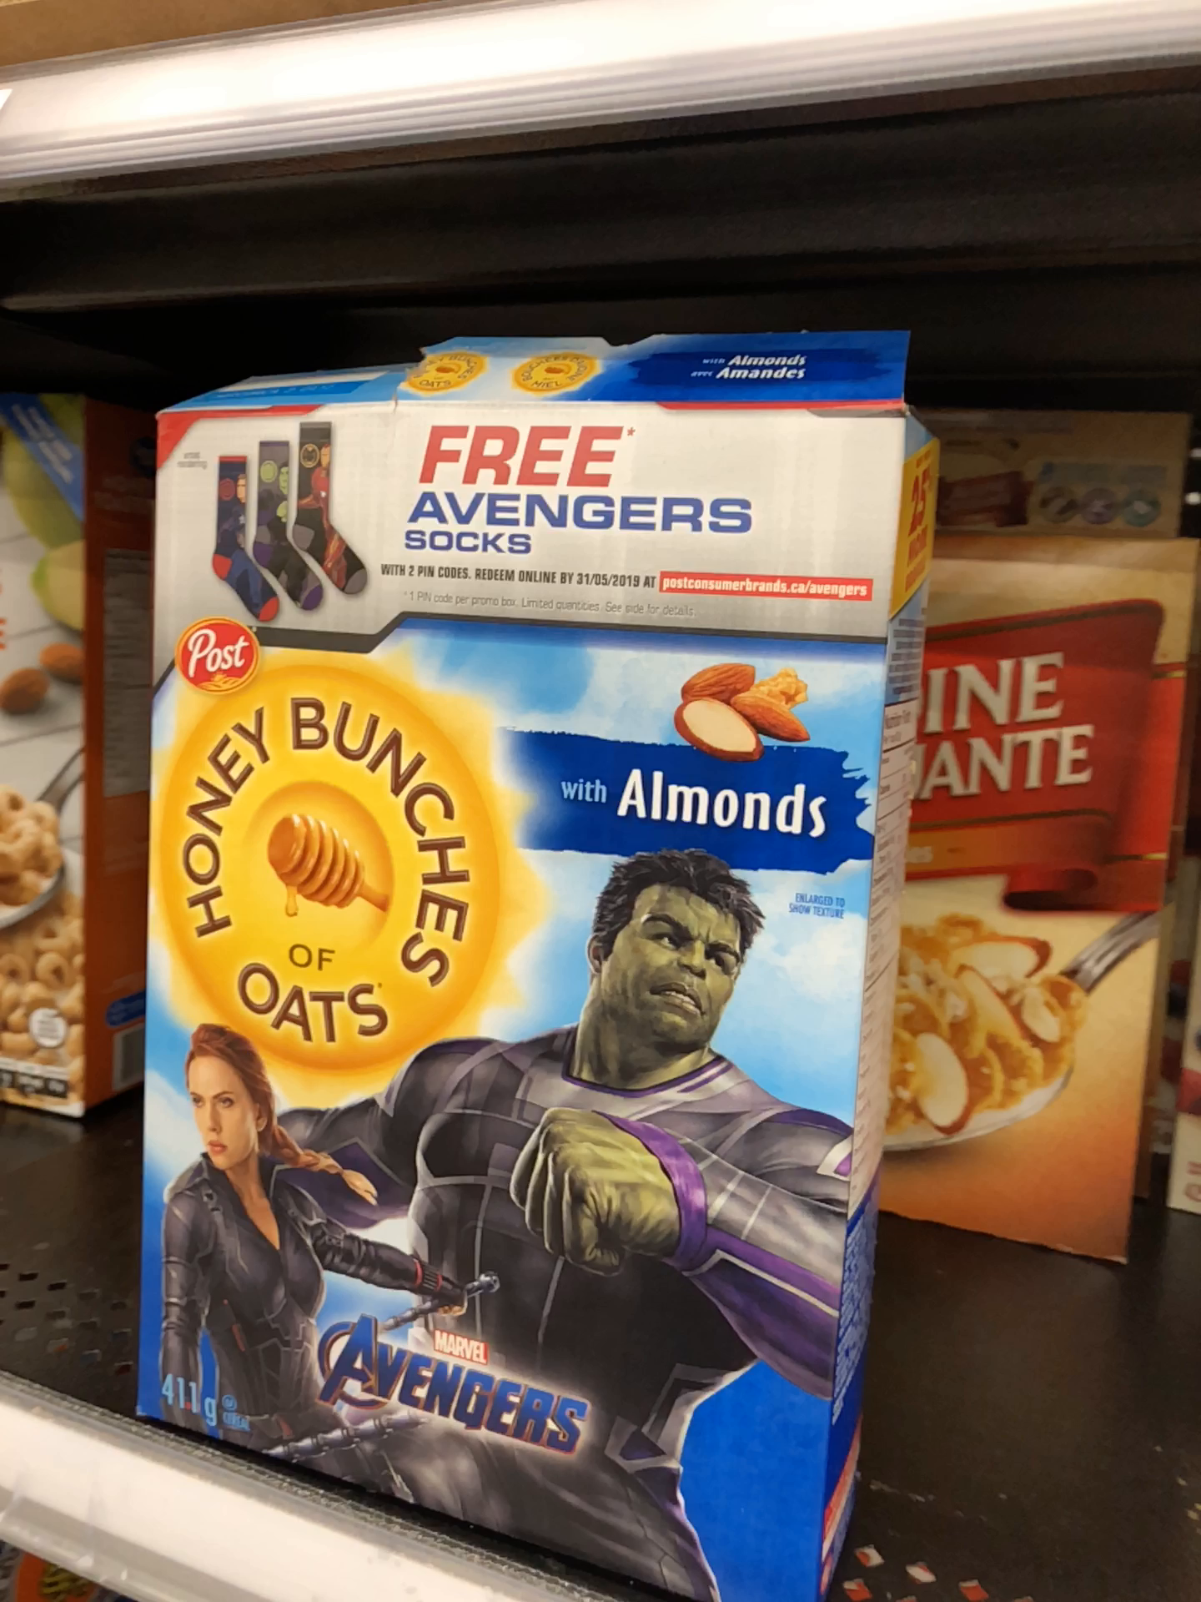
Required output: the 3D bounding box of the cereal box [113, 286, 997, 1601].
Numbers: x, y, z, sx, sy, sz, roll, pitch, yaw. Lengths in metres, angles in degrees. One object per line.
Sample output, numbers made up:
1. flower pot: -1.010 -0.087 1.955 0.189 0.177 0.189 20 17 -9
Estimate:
1. cereal box: -0.019 0.031 0.340 0.200 0.289 0.070 6 9 22
